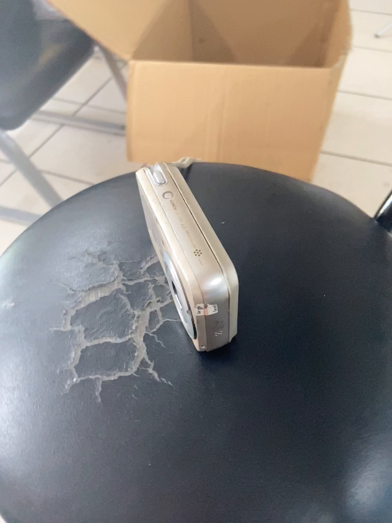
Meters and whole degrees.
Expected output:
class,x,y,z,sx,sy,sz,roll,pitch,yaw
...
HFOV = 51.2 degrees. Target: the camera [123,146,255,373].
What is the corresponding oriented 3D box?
class,x,y,z,sx,sy,sz,roll,pitch,yaw
camera,-0.007,-0.005,0.227,0.030,0.060,0.110,-18,53,-11
